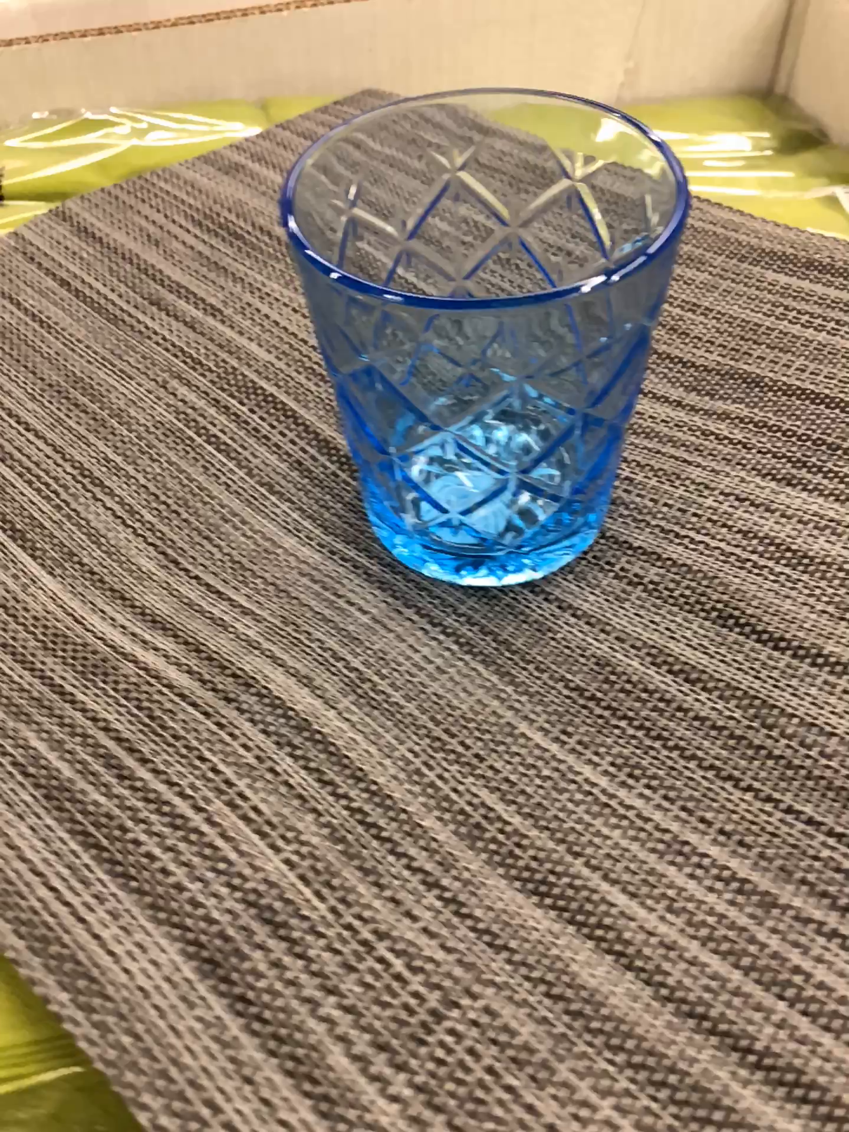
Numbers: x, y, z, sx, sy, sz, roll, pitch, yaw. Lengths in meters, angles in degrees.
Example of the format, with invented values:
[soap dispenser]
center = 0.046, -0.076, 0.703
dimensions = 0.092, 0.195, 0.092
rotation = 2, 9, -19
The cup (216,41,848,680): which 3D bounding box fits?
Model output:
[cup]
center = 0.018, -0.047, 0.213
dimensions = 0.090, 0.090, 0.080
rotation = -23, 52, -17
